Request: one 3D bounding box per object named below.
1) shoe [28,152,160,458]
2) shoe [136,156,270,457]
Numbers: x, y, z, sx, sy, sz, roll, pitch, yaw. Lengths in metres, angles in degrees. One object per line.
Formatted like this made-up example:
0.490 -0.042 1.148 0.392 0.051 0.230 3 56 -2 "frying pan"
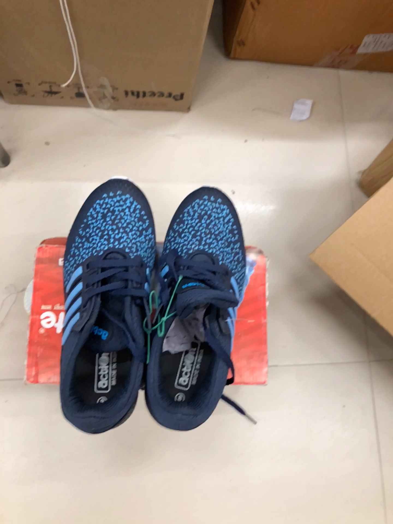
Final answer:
-0.094 0.042 0.447 0.101 0.133 0.263 2 79 -8 "shoe"
0.002 0.045 0.460 0.093 0.133 0.263 8 78 -6 "shoe"
